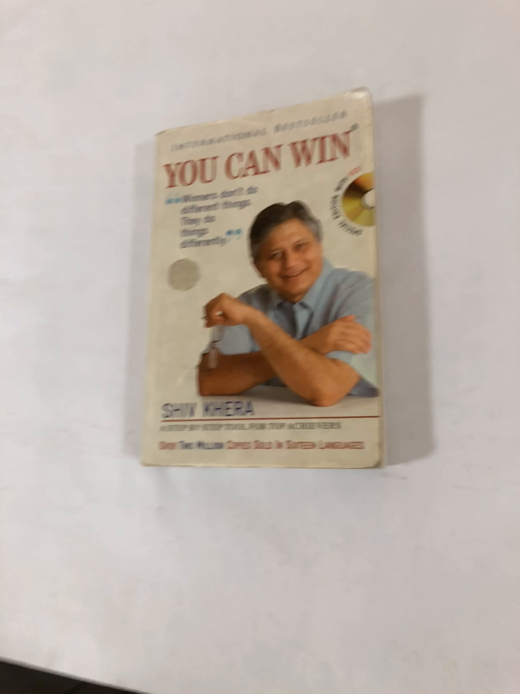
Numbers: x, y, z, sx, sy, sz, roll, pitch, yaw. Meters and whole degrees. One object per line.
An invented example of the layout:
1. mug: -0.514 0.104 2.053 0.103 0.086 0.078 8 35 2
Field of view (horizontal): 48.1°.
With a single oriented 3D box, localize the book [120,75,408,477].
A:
1. book: 0.001 -0.034 0.333 0.150 0.040 0.210 -4 79 17
